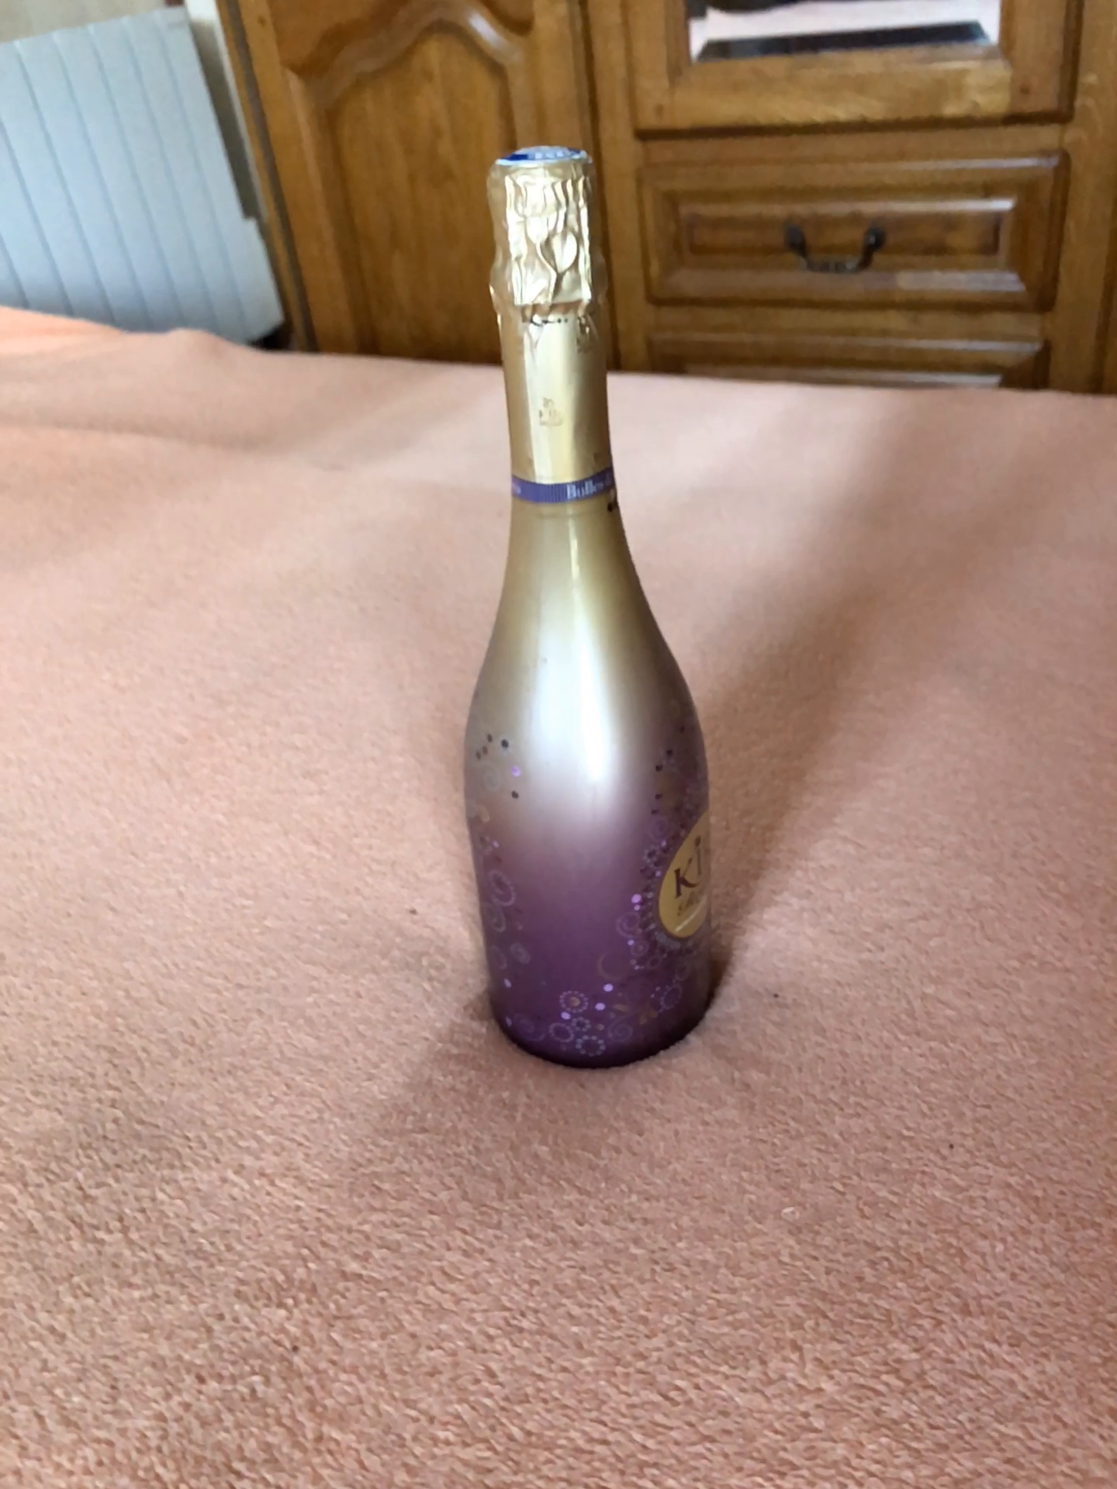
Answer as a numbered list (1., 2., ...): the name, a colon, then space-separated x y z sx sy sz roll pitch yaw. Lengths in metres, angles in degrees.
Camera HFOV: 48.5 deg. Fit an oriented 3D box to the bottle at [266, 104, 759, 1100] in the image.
1. bottle: 0.002 -0.034 0.416 0.090 0.308 0.091 -6 32 4
